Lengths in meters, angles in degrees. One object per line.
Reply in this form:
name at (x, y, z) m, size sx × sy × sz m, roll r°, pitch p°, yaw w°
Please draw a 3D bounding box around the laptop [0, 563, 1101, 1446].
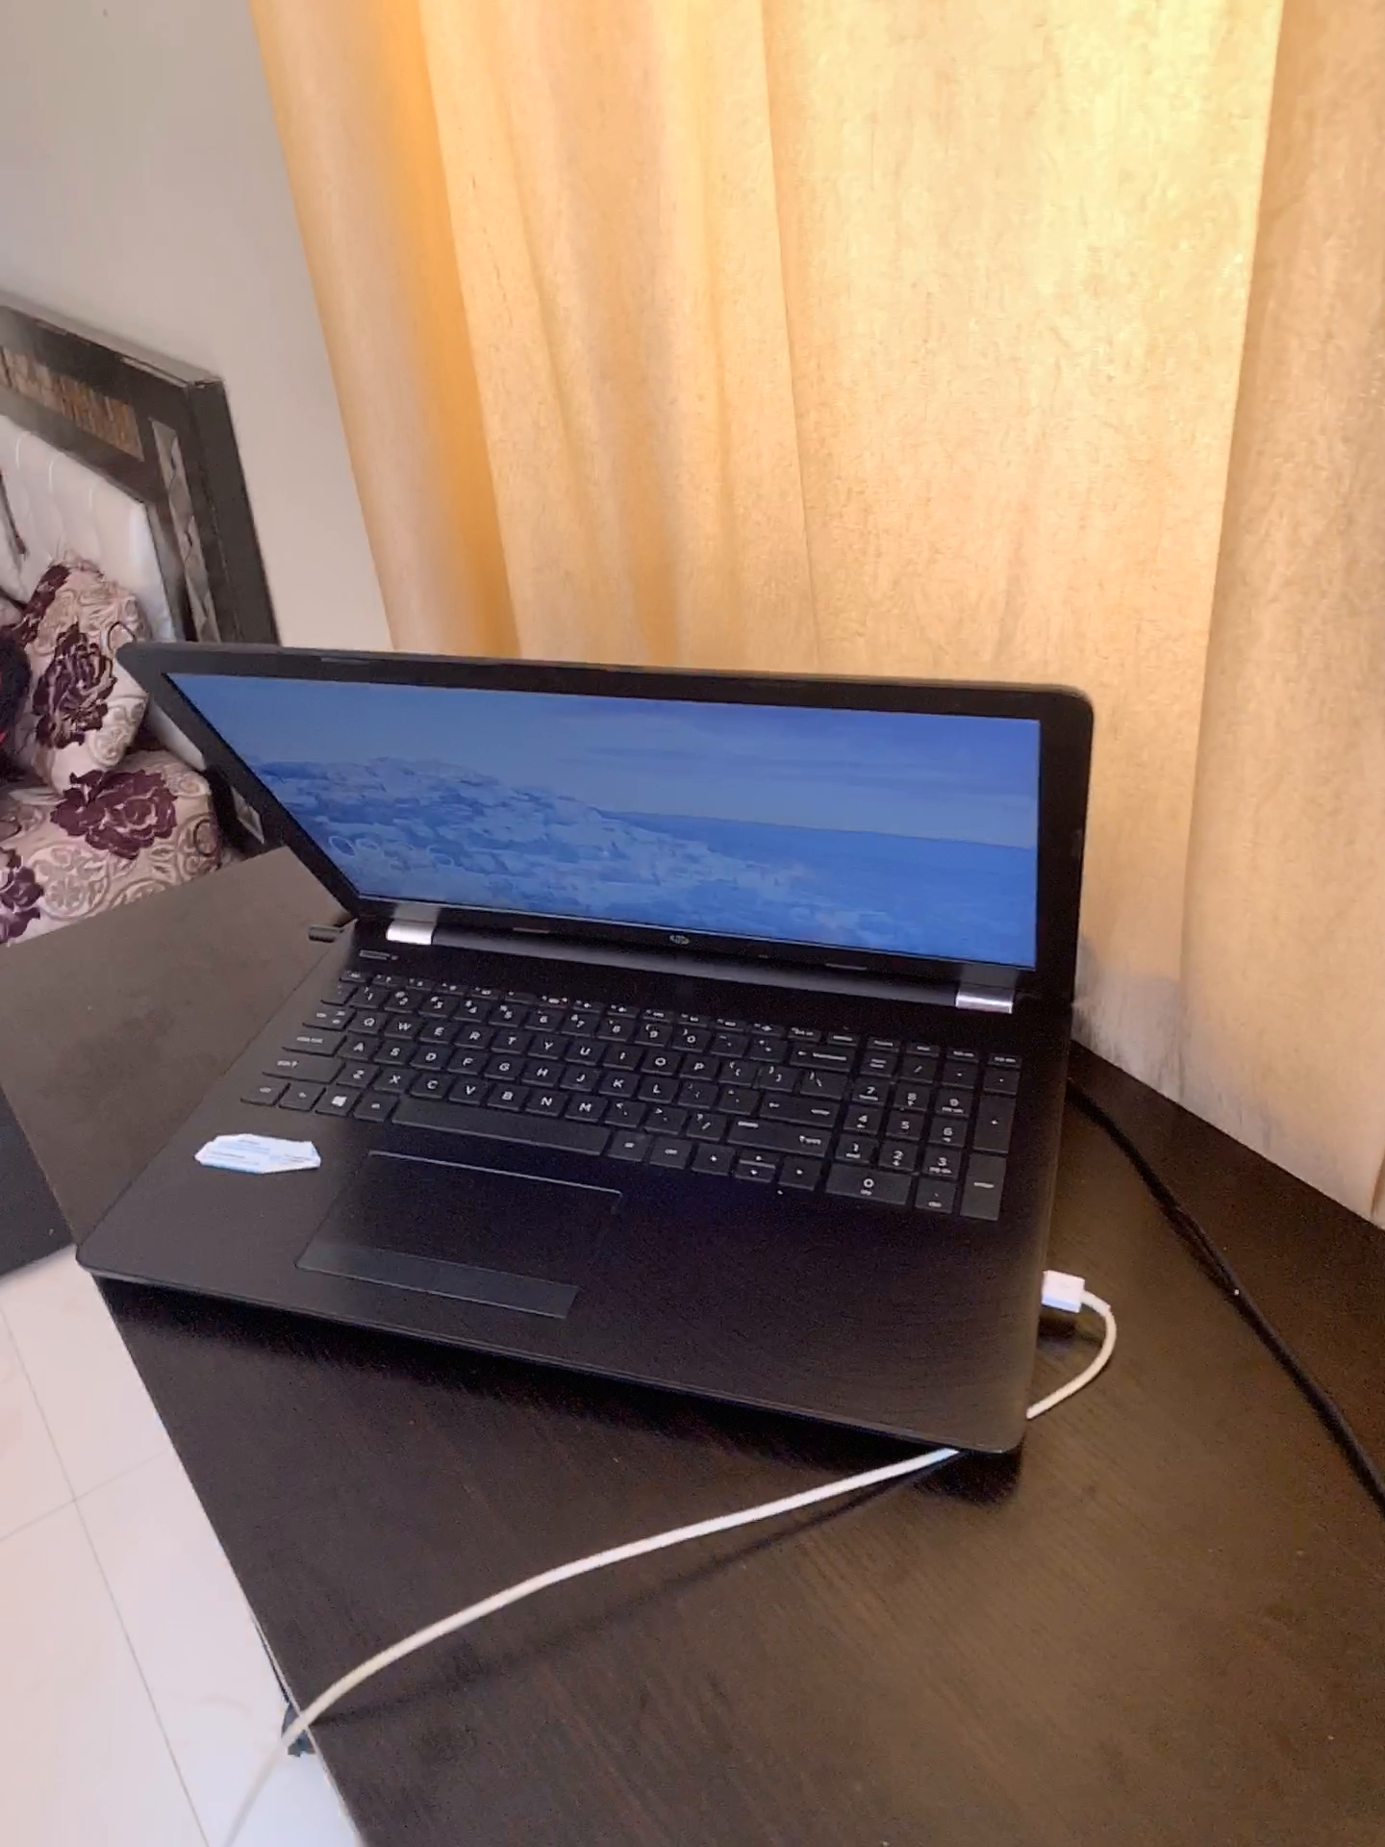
laptop at (-0.043, 0.002, 0.564) m, size 0.362 × 0.201 × 0.239 m, roll 6°, pitch 35°, yaw 18°
